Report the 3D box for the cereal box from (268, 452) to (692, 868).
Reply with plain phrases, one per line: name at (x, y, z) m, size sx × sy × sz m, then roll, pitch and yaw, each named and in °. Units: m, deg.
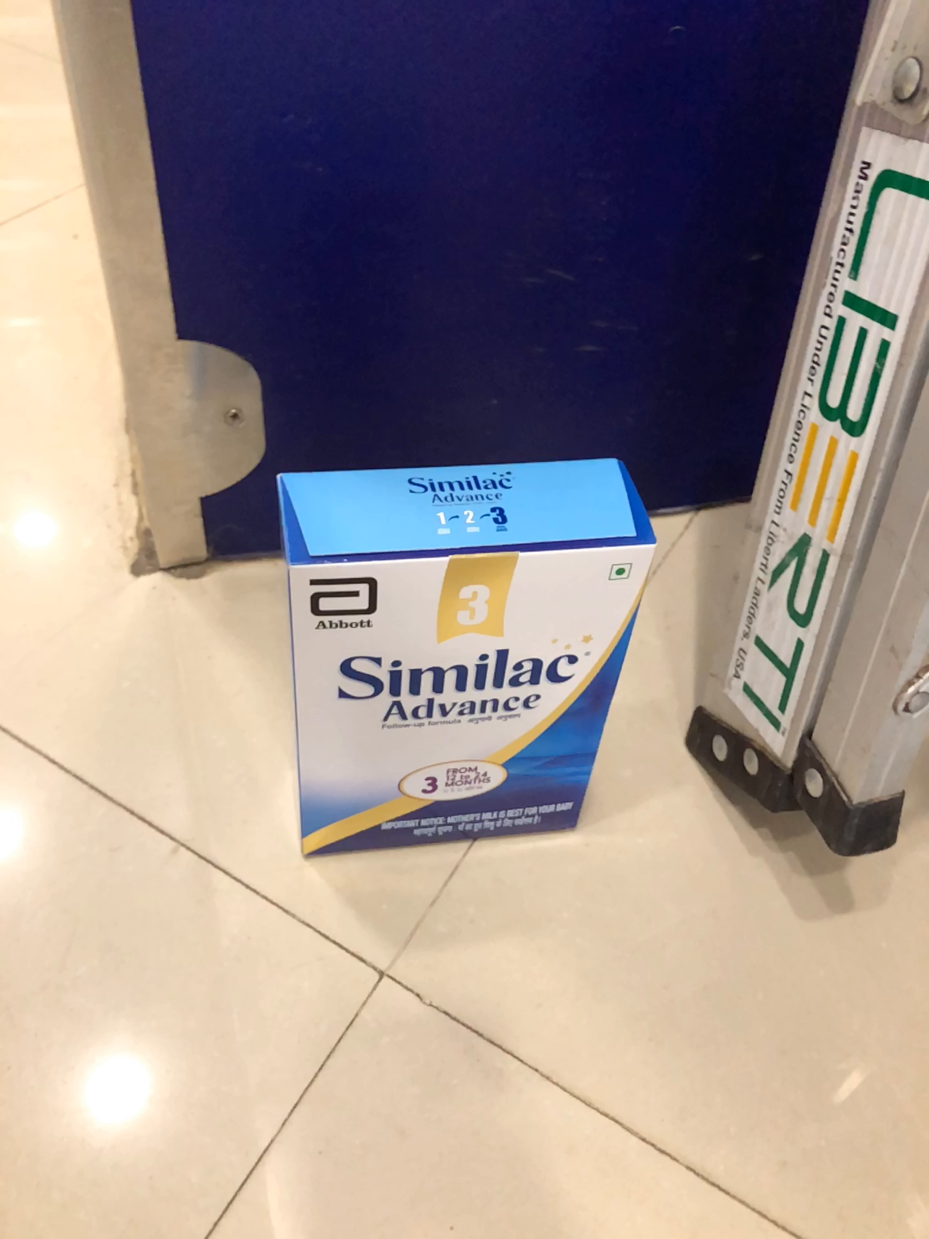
cereal box at (-0.004, 0.026, 0.428) m, size 0.140 × 0.199 × 0.050 m, roll -4°, pitch 50°, yaw -10°
